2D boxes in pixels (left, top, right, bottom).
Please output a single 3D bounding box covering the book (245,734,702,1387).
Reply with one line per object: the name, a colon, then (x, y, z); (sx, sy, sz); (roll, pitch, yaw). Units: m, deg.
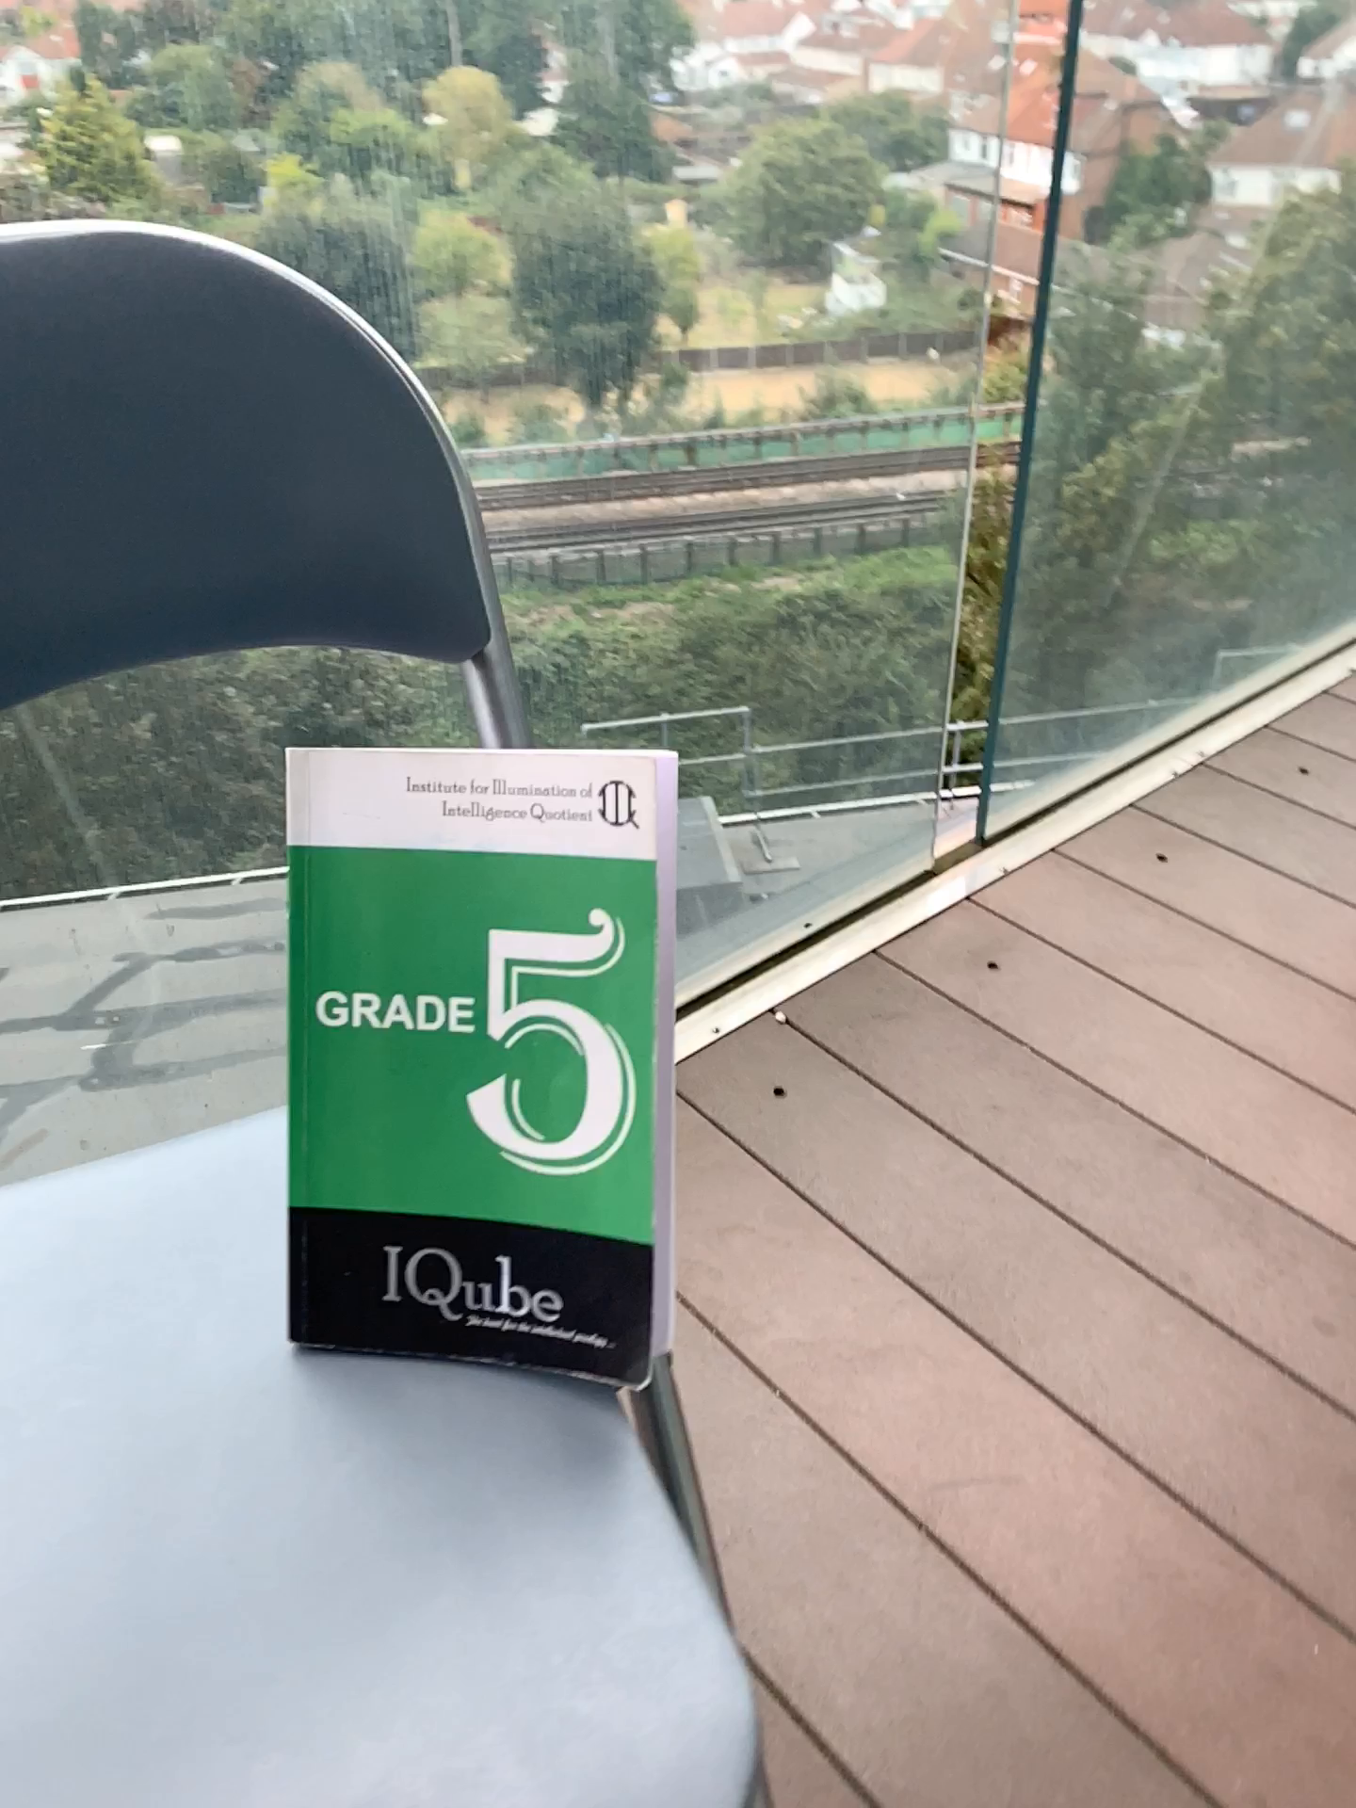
book: (-0.070, 0.048, 0.478); (0.150, 0.210, 0.040); (1, 2, 11)
